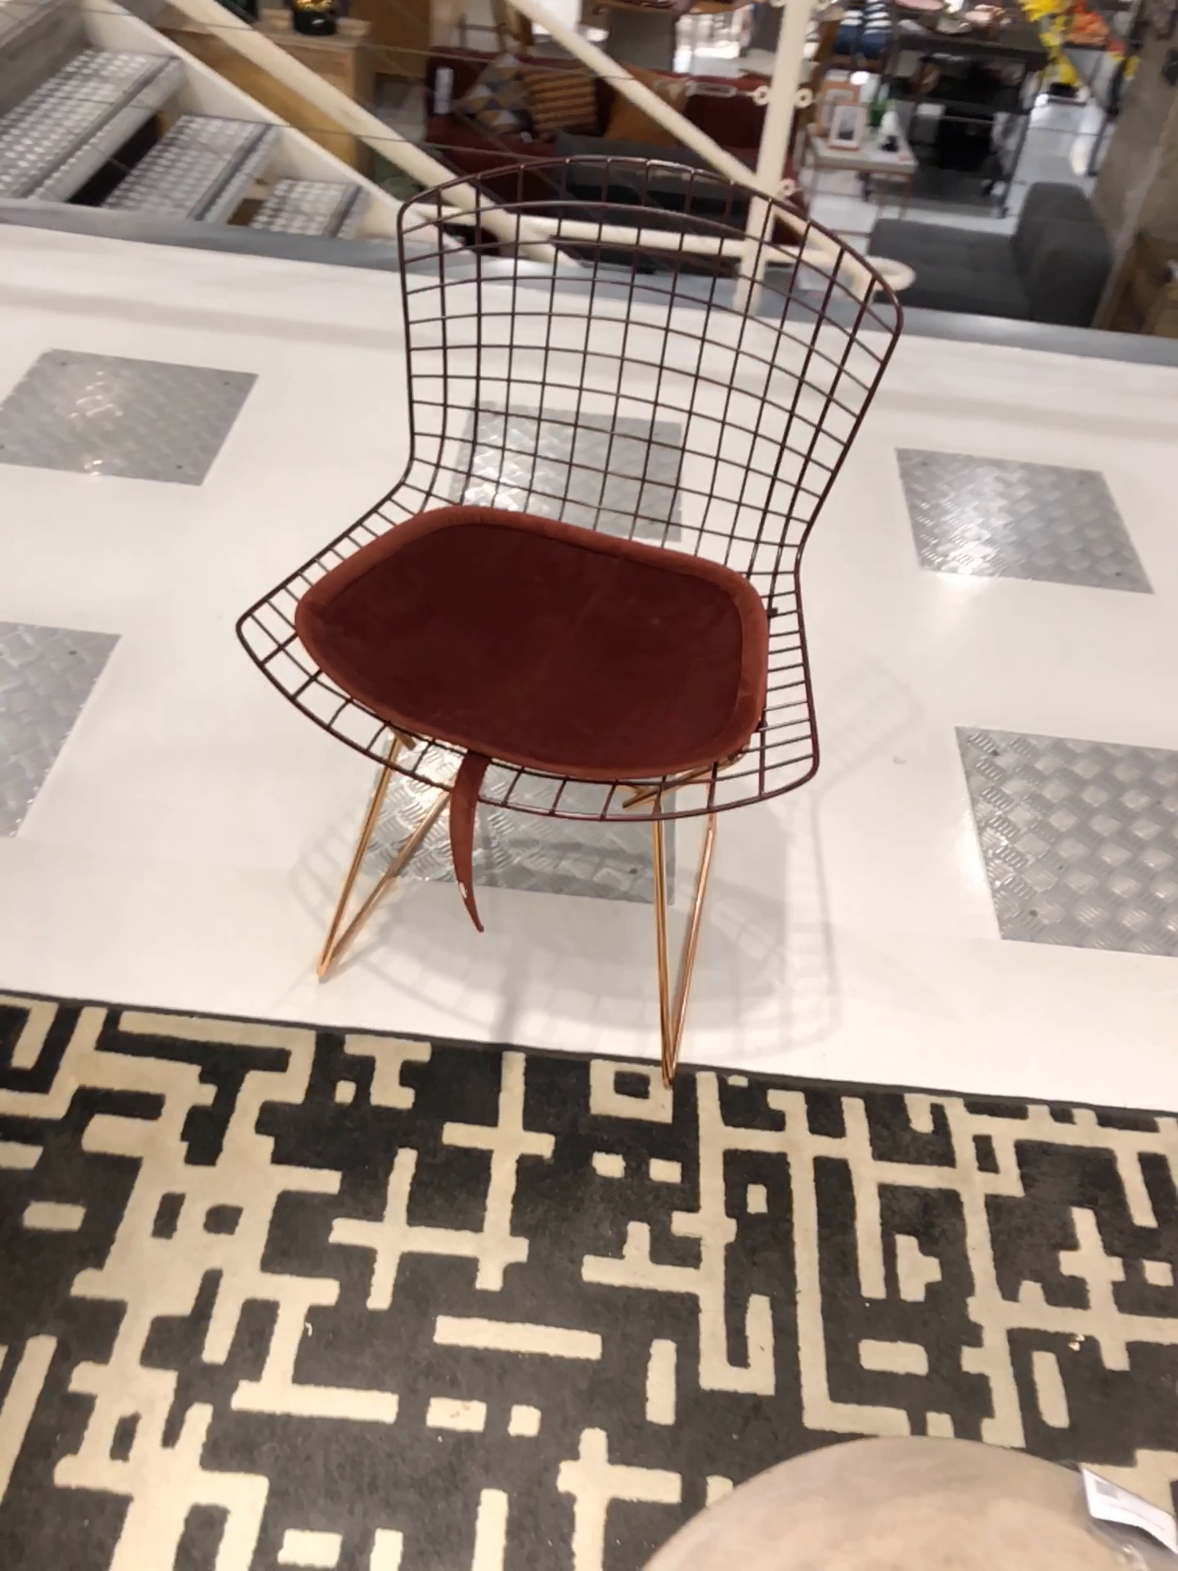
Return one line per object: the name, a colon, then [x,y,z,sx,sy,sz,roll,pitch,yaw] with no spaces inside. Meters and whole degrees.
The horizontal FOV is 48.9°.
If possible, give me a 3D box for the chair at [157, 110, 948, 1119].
chair: [-0.023,-0.157,1.316,0.510,0.764,0.504,16,44,9]
